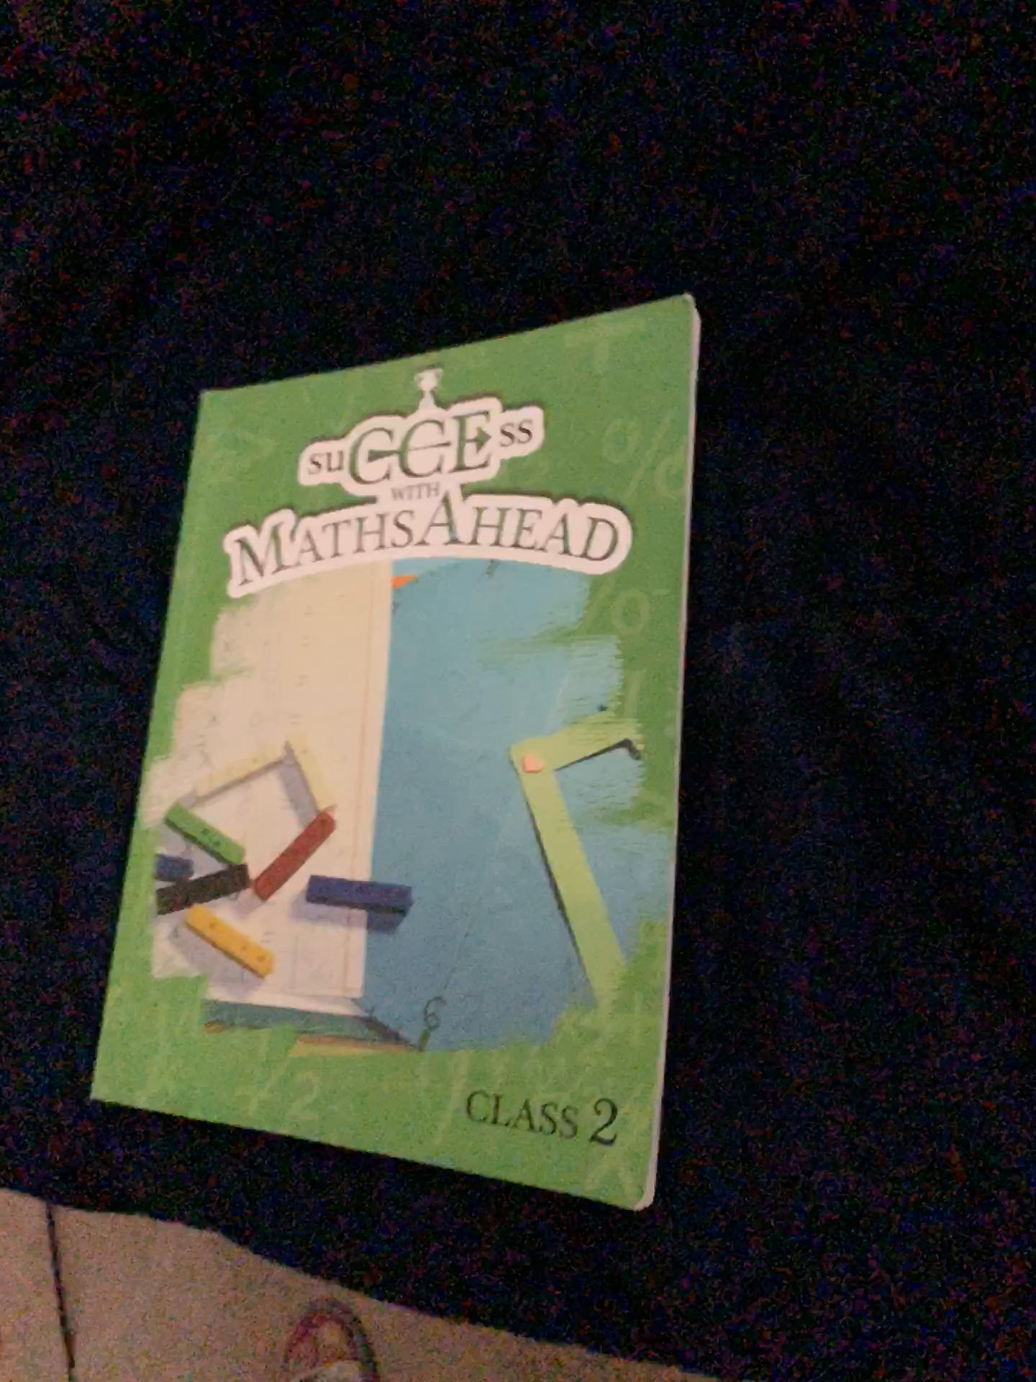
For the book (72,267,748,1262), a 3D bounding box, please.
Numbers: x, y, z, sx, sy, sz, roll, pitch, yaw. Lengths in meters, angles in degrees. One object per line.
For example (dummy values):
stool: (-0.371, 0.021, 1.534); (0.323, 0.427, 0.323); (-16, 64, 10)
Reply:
book: (-0.043, 0.014, 0.364); (0.231, 0.020, 0.280); (-1, 80, 27)
